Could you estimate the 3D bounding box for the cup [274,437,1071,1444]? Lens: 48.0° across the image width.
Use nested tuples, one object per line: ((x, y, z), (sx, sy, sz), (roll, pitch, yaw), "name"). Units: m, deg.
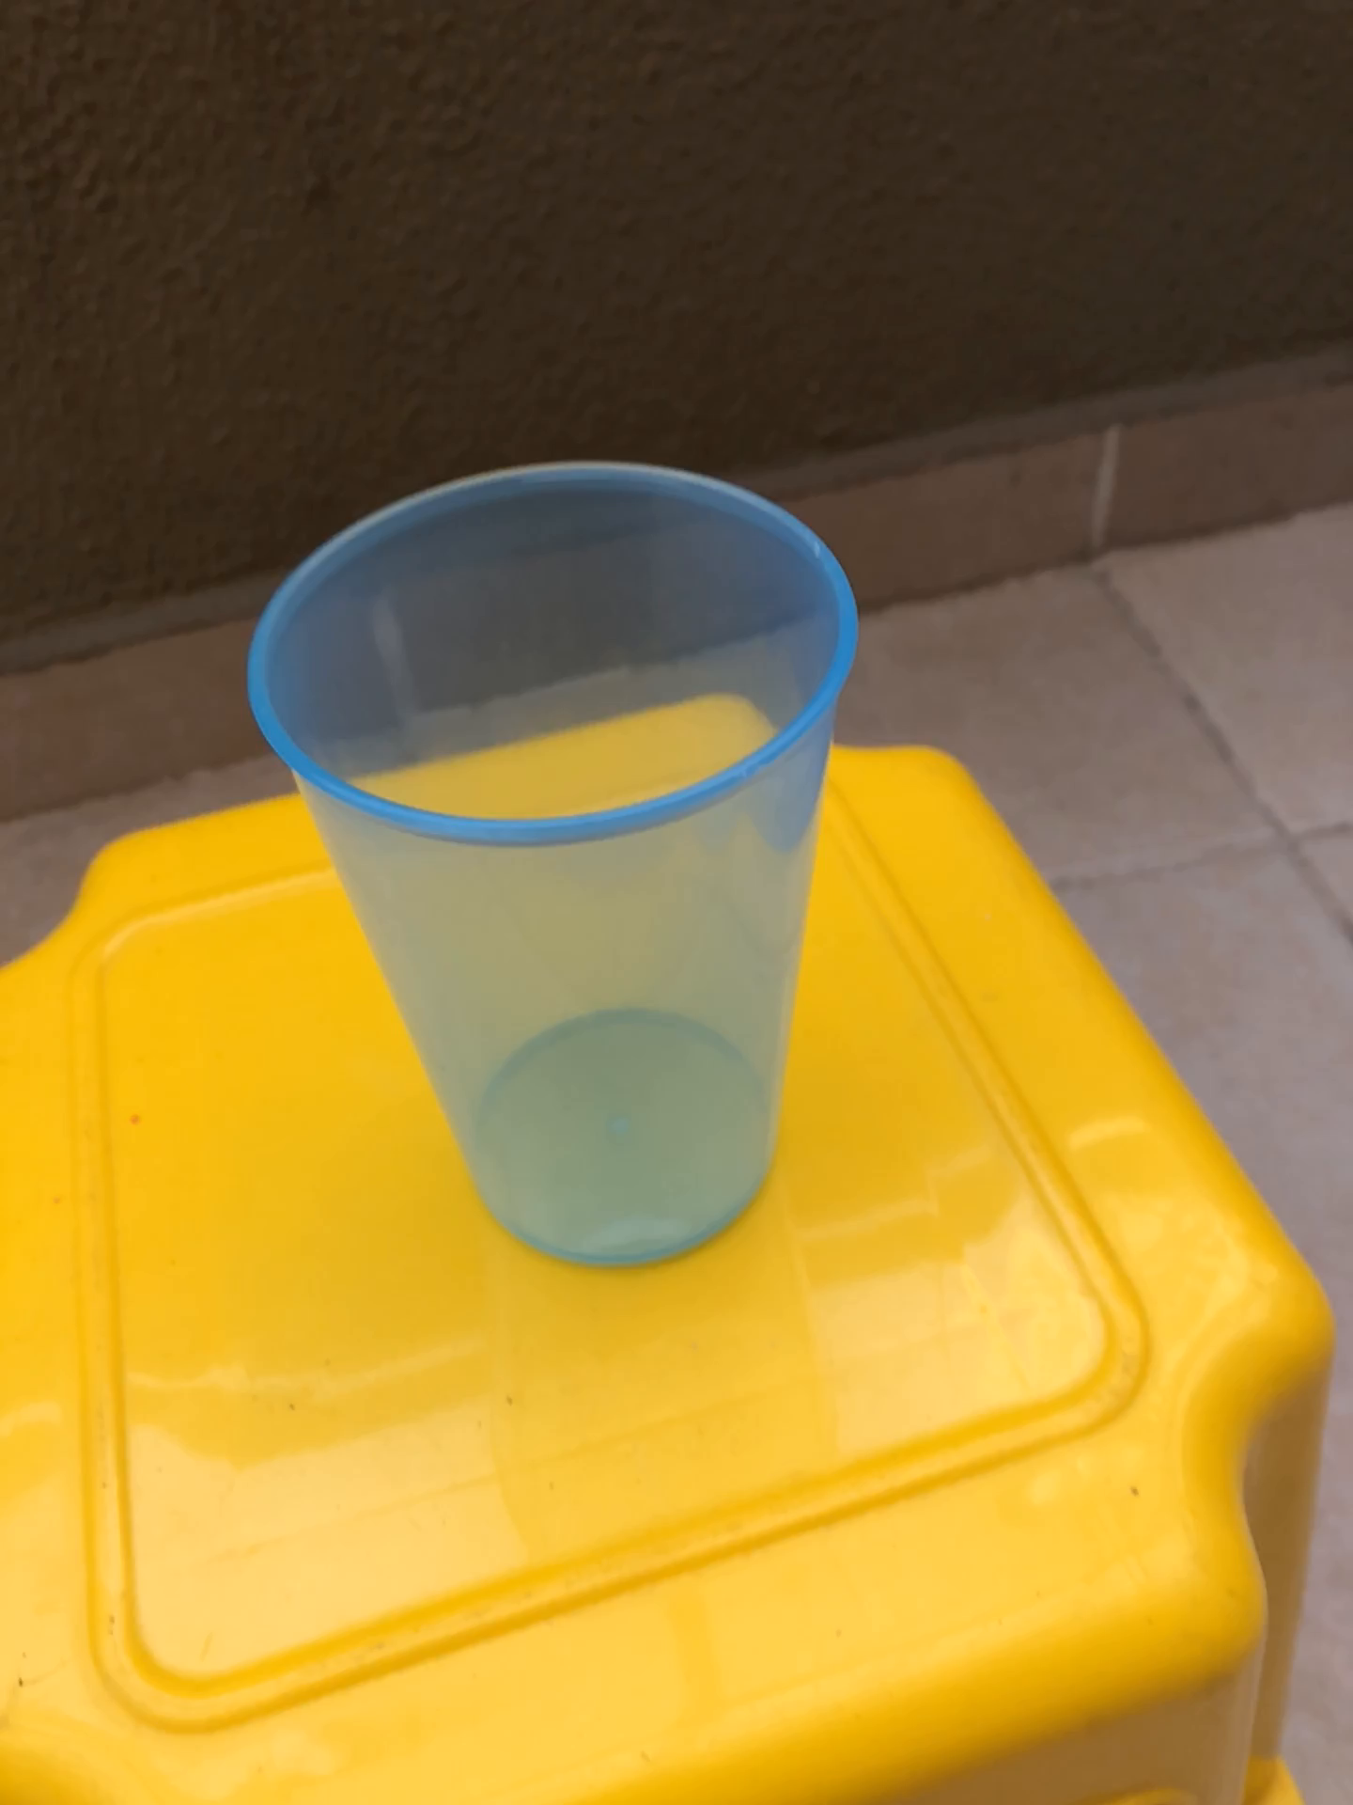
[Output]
((-0.002, 0.006, 0.217), (0.070, 0.099, 0.080), (-19, 47, -13), "cup")
